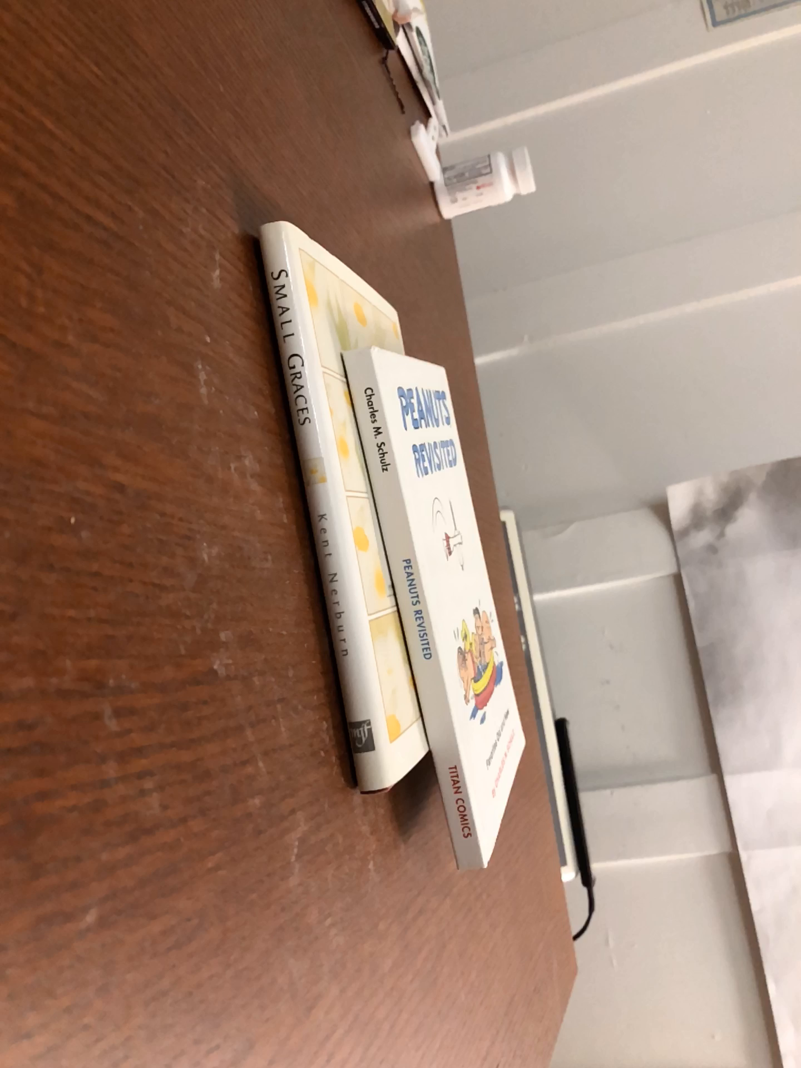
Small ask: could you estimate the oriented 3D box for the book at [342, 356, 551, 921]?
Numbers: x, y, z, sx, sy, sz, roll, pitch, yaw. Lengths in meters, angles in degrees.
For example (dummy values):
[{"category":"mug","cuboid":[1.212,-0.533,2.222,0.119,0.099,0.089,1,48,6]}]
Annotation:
[{"category":"book","cuboid":[0.031,0.029,0.398,0.161,0.020,0.210,-34,112,-74]}]
